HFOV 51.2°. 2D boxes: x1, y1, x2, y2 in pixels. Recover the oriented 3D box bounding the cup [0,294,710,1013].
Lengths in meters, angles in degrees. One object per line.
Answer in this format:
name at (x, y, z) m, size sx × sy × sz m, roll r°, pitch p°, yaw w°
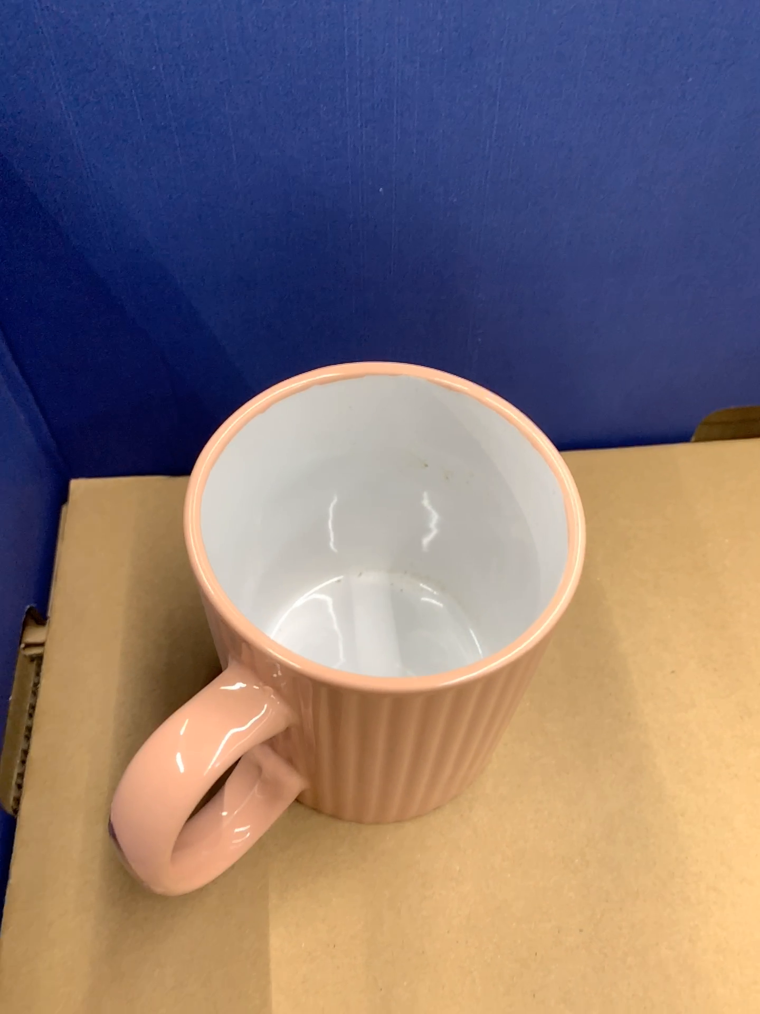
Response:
cup at (-0.004, 0.046, 0.229) m, size 0.102 × 0.128 × 0.155 m, roll 30°, pitch 55°, yaw 24°
